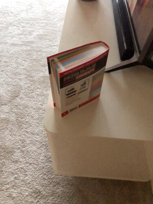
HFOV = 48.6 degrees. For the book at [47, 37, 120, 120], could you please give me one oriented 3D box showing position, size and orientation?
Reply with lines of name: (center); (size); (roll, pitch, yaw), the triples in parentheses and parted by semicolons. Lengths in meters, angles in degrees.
book: (0.012, -0.053, 0.440); (0.150, 0.179, 0.060); (-25, 60, -21)
